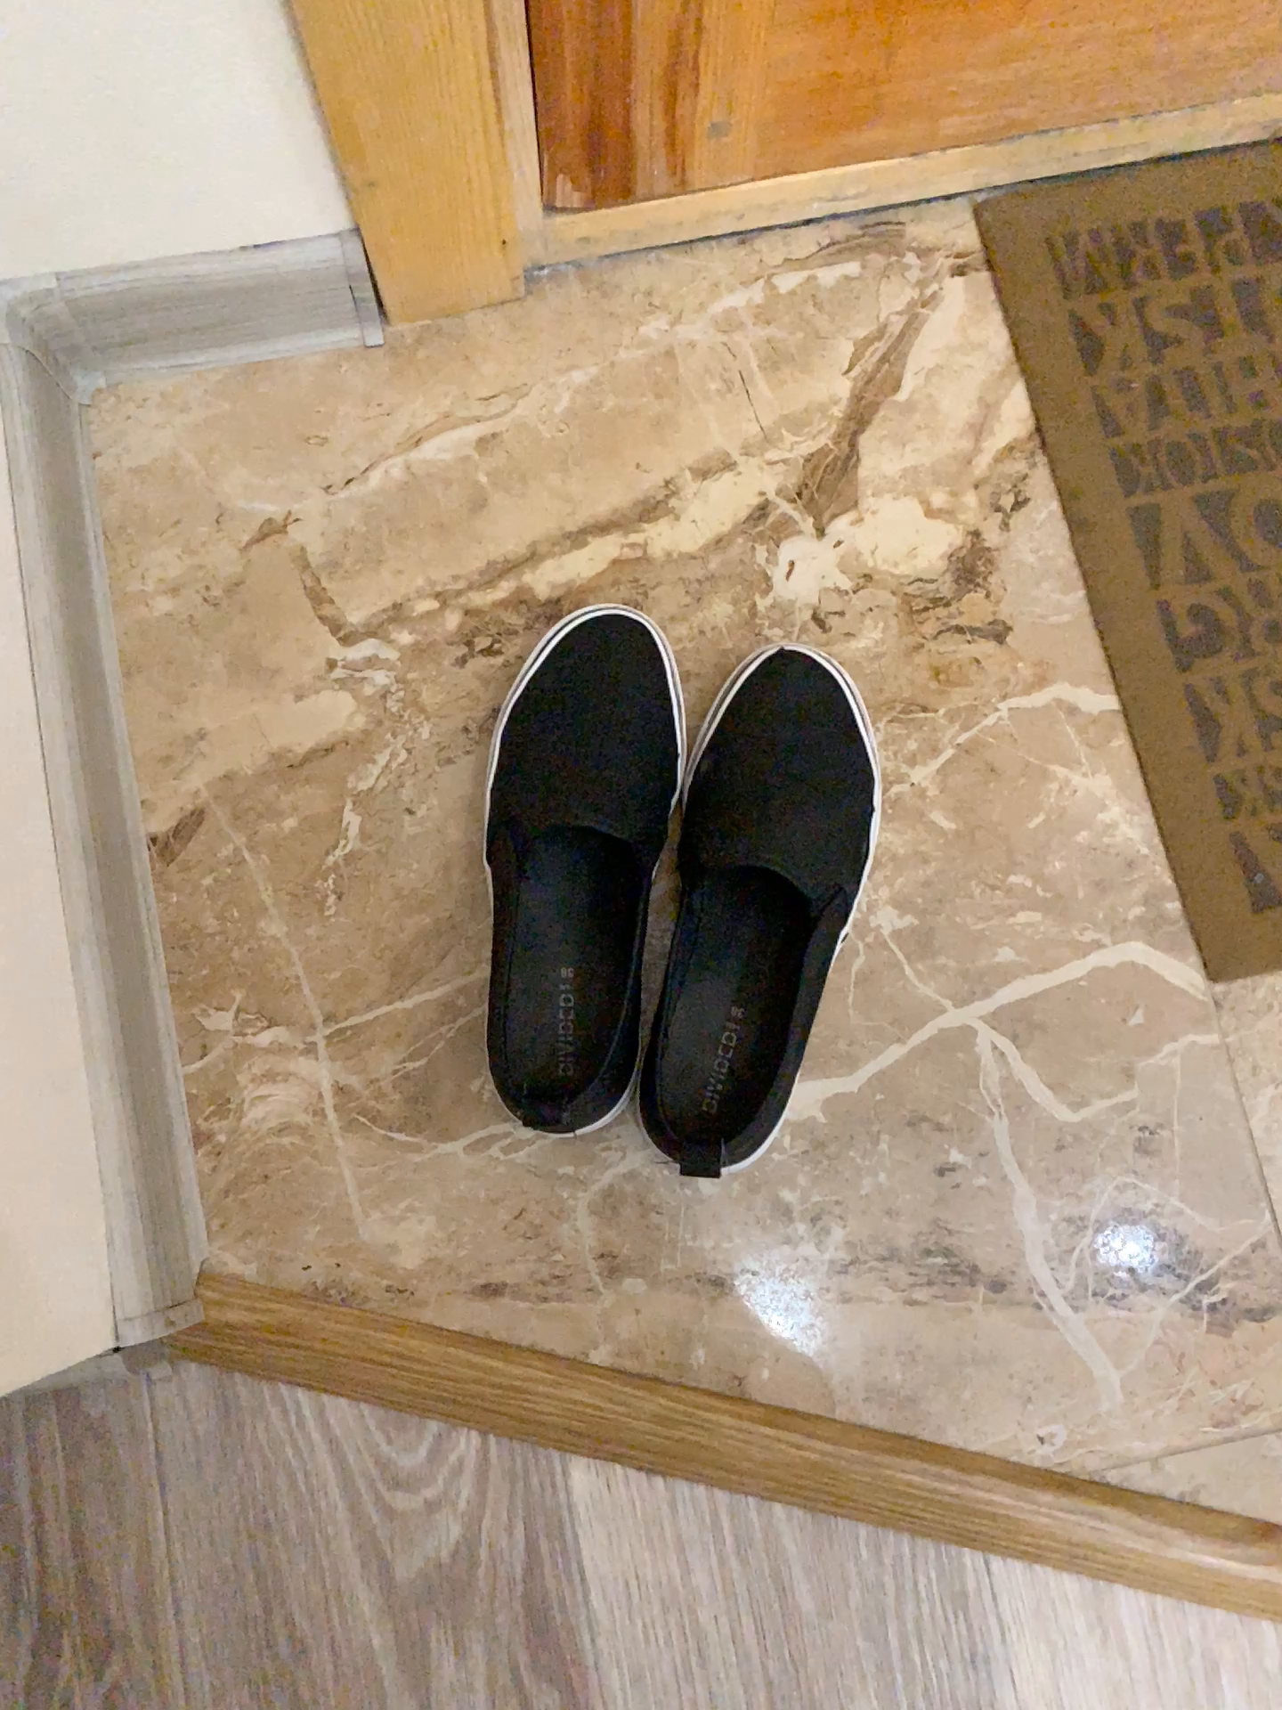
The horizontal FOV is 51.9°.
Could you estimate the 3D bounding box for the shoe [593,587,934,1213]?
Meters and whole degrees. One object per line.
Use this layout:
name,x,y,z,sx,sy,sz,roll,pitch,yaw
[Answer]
shoe,0.054,0.018,0.577,0.090,0.060,0.250,14,78,2

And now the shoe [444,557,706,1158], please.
shoe,-0.025,0.001,0.578,0.090,0.060,0.250,4,78,0
